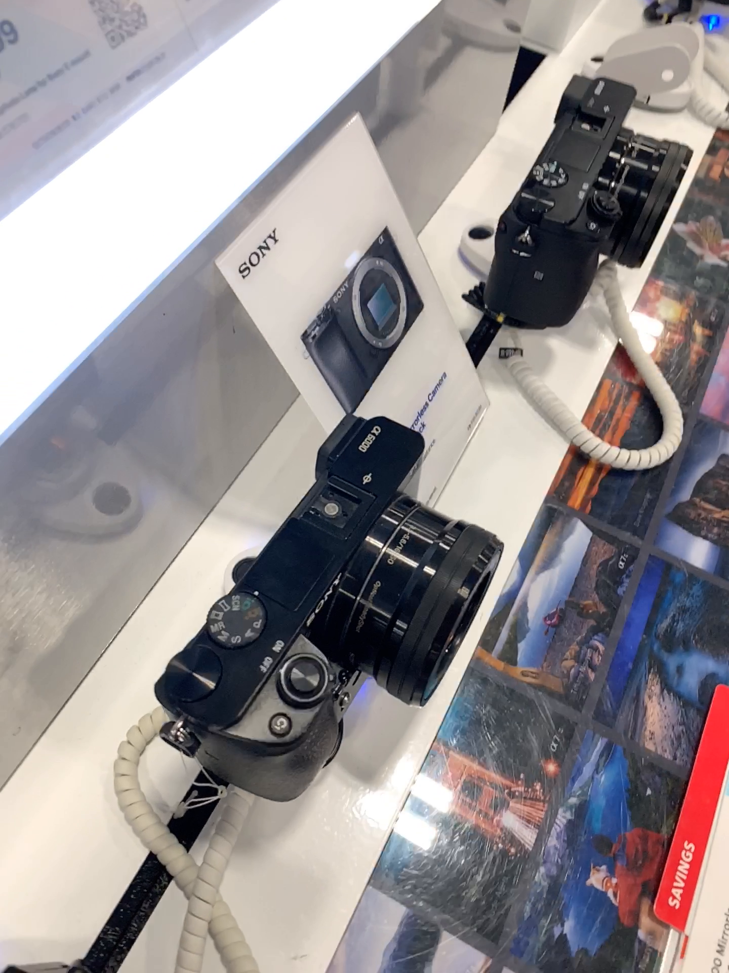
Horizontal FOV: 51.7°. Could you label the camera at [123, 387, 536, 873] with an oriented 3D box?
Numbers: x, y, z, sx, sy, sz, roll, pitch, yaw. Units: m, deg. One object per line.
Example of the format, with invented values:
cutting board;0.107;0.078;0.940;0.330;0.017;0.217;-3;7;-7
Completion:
camera;-0.004;0.044;0.245;0.065;0.074;0.120;24;59;17
